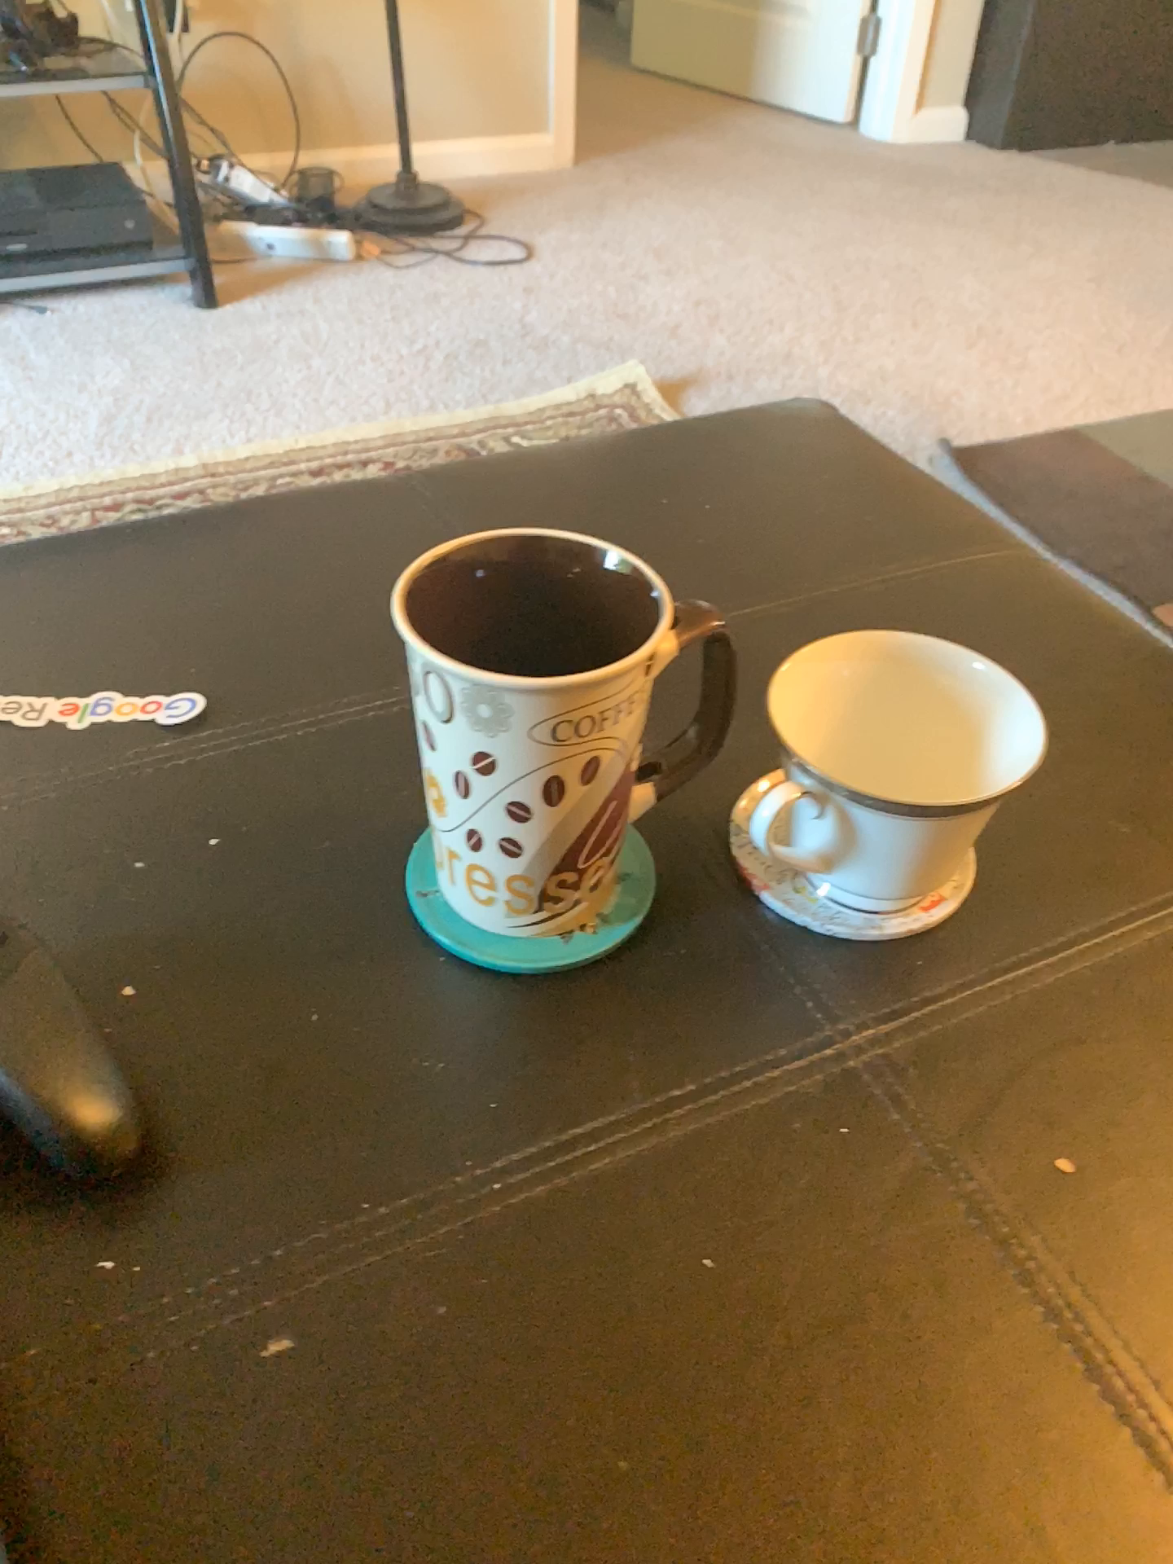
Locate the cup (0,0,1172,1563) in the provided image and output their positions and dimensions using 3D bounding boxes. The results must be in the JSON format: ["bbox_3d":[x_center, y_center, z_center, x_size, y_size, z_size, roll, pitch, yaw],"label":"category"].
[{"bbox_3d":[-0.008,-0.021,0.399,39.267,9.444,0.299,-15,43,-18],"label":"cup"}]

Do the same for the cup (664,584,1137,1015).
[{"bbox_3d":[0.099,0.000,0.401,0.110,0.070,0.090,-24,47,-27],"label":"cup"}]

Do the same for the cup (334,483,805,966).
[{"bbox_3d":[-0.008,-0.021,0.399,0.120,0.109,0.080,-14,43,-18],"label":"cup"}]

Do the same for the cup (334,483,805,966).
[{"bbox_3d":[-0.008,-0.021,0.399,0.120,0.109,0.080,-14,43,-18],"label":"cup"}]
